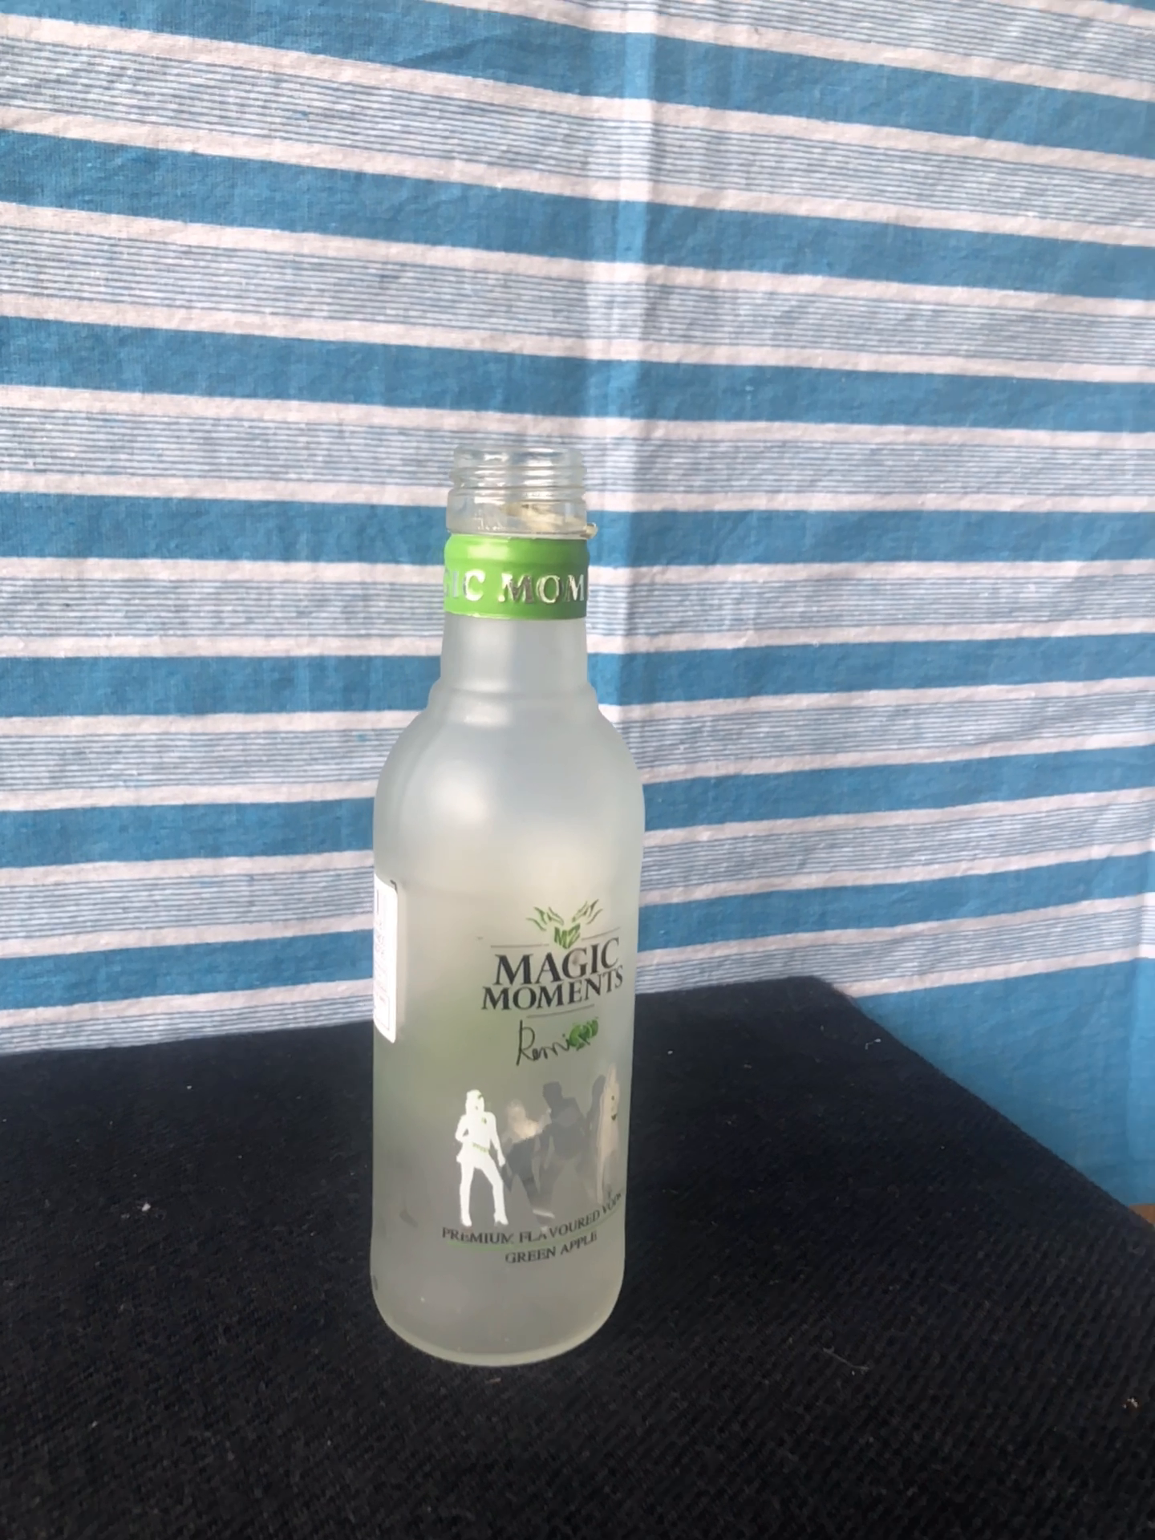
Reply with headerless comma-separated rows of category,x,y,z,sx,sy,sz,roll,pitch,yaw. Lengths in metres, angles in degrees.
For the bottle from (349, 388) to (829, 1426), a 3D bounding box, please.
bottle,-0.004,0.019,0.206,0.050,0.150,0.050,4,14,-1
